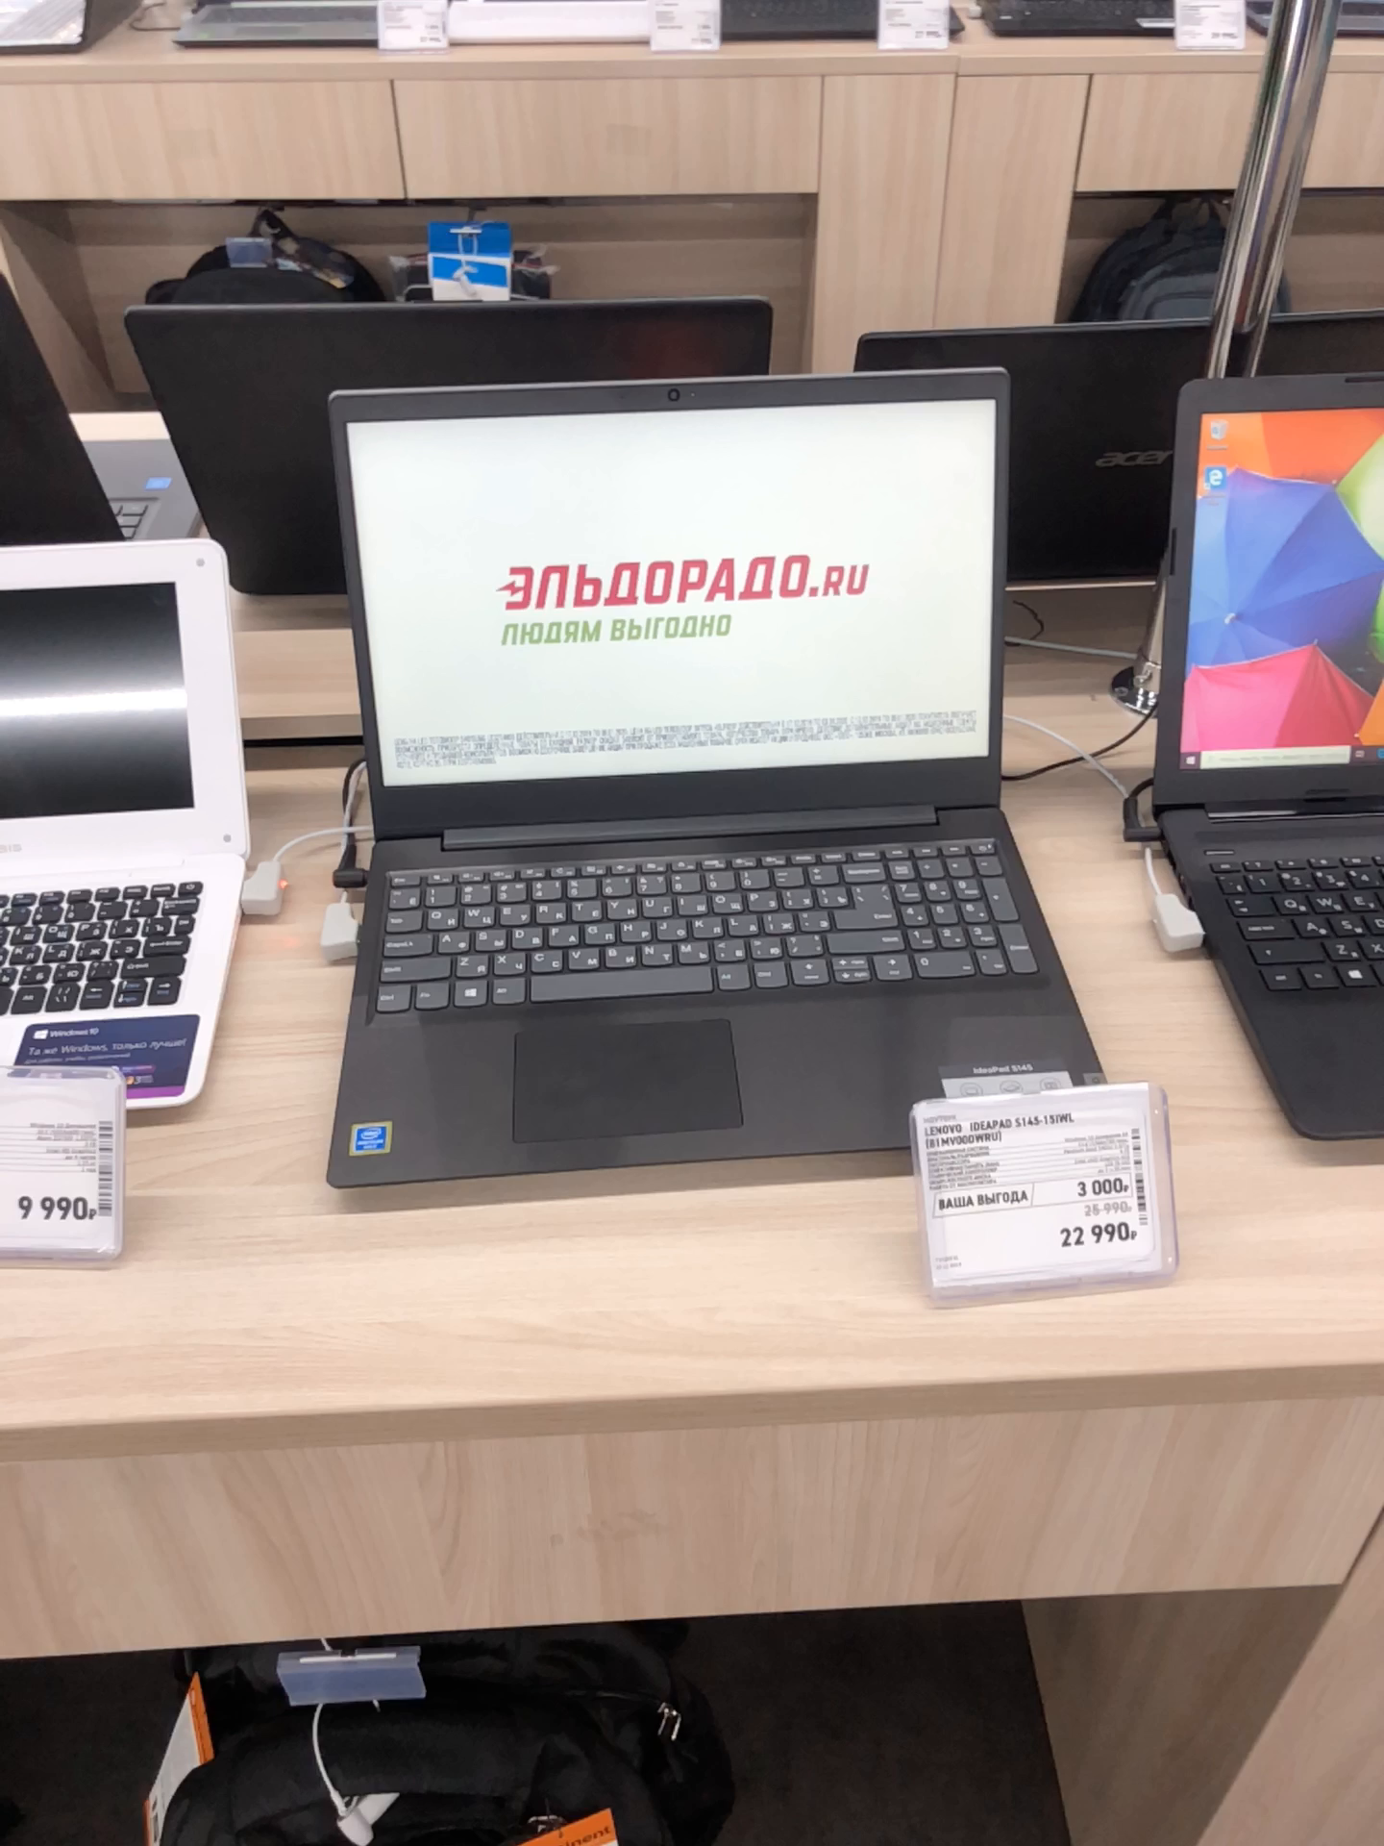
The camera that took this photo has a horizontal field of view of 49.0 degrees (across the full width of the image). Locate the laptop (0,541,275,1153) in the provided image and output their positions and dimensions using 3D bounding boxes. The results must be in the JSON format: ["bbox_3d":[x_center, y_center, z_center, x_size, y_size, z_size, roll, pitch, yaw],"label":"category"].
[{"bbox_3d":[-0.380,-0.053,0.760,0.279,0.139,0.290,-4,41,-4],"label":"laptop"}]

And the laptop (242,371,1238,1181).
[{"bbox_3d":[0.010,-0.091,0.735,0.354,0.212,0.342,-3,41,-4],"label":"laptop"}]

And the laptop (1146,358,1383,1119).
[{"bbox_3d":[0.469,-0.104,0.733,0.374,0.206,0.323,-2,40,-2],"label":"laptop"}]
